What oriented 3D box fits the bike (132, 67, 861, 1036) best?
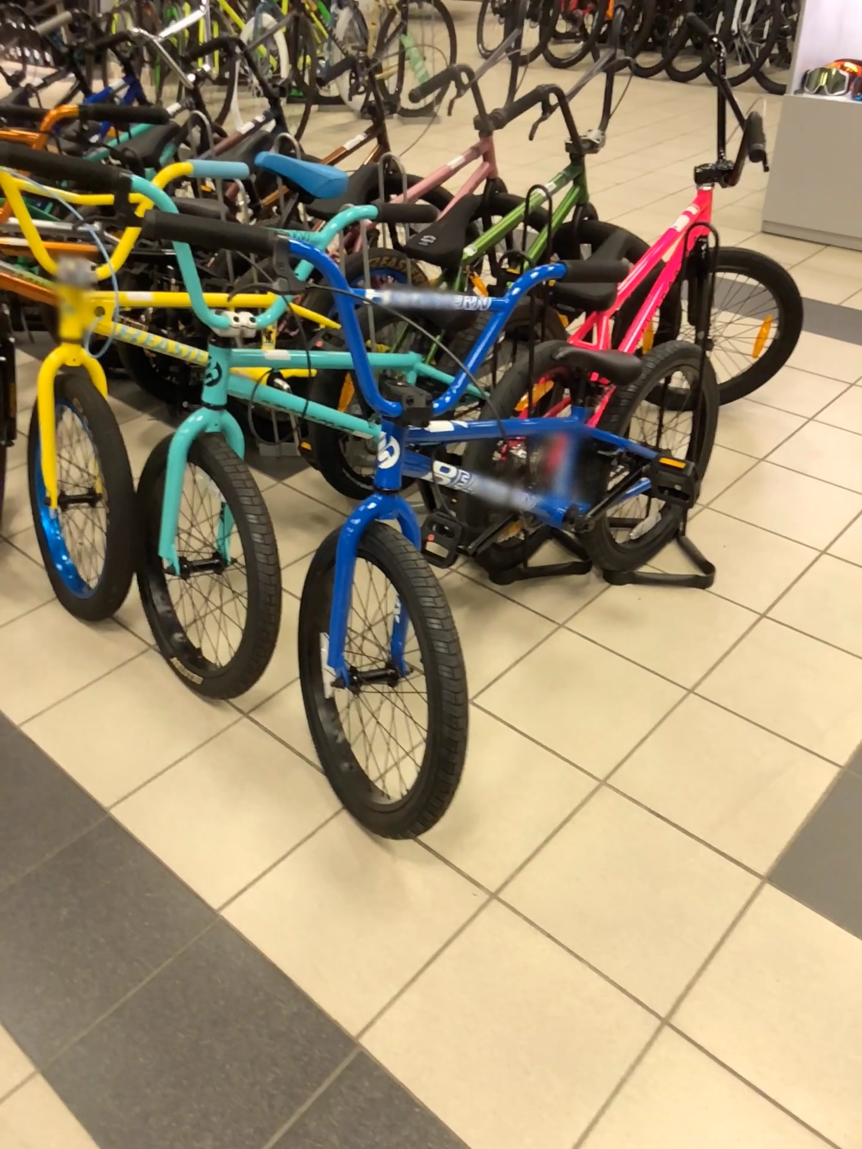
[{"bbox_3d":[0.290,-0.238,1.640,0.822,0.961,1.262,20,40,27],"label":"bike"}]
